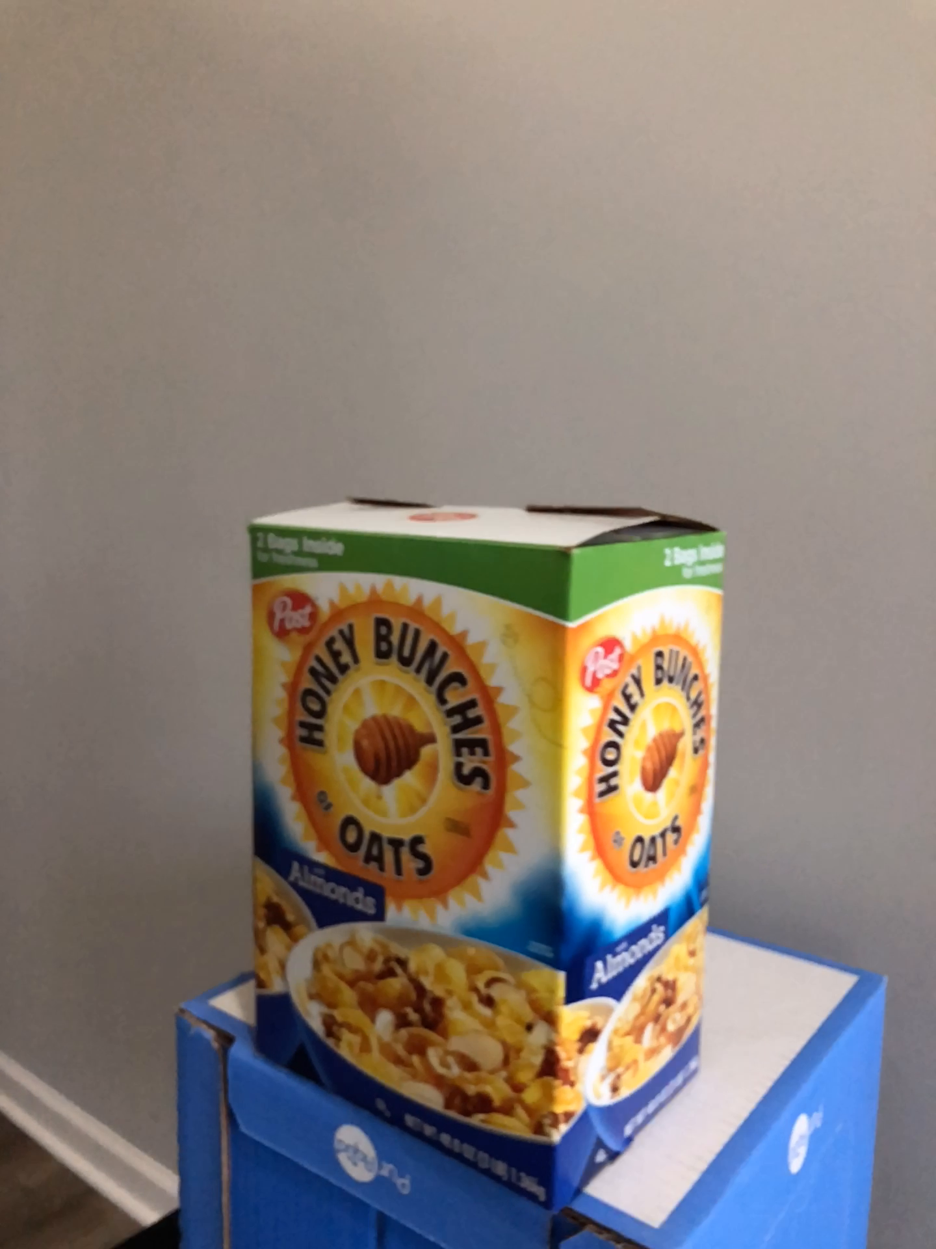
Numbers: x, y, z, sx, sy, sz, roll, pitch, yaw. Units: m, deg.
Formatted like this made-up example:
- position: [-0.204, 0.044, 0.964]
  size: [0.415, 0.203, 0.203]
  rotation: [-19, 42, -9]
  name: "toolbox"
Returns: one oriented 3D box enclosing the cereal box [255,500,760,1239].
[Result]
- position: [0.017, 0.091, 0.539]
  size: [0.200, 0.300, 0.150]
  rotation: [7, 11, 38]
  name: "cereal box"
